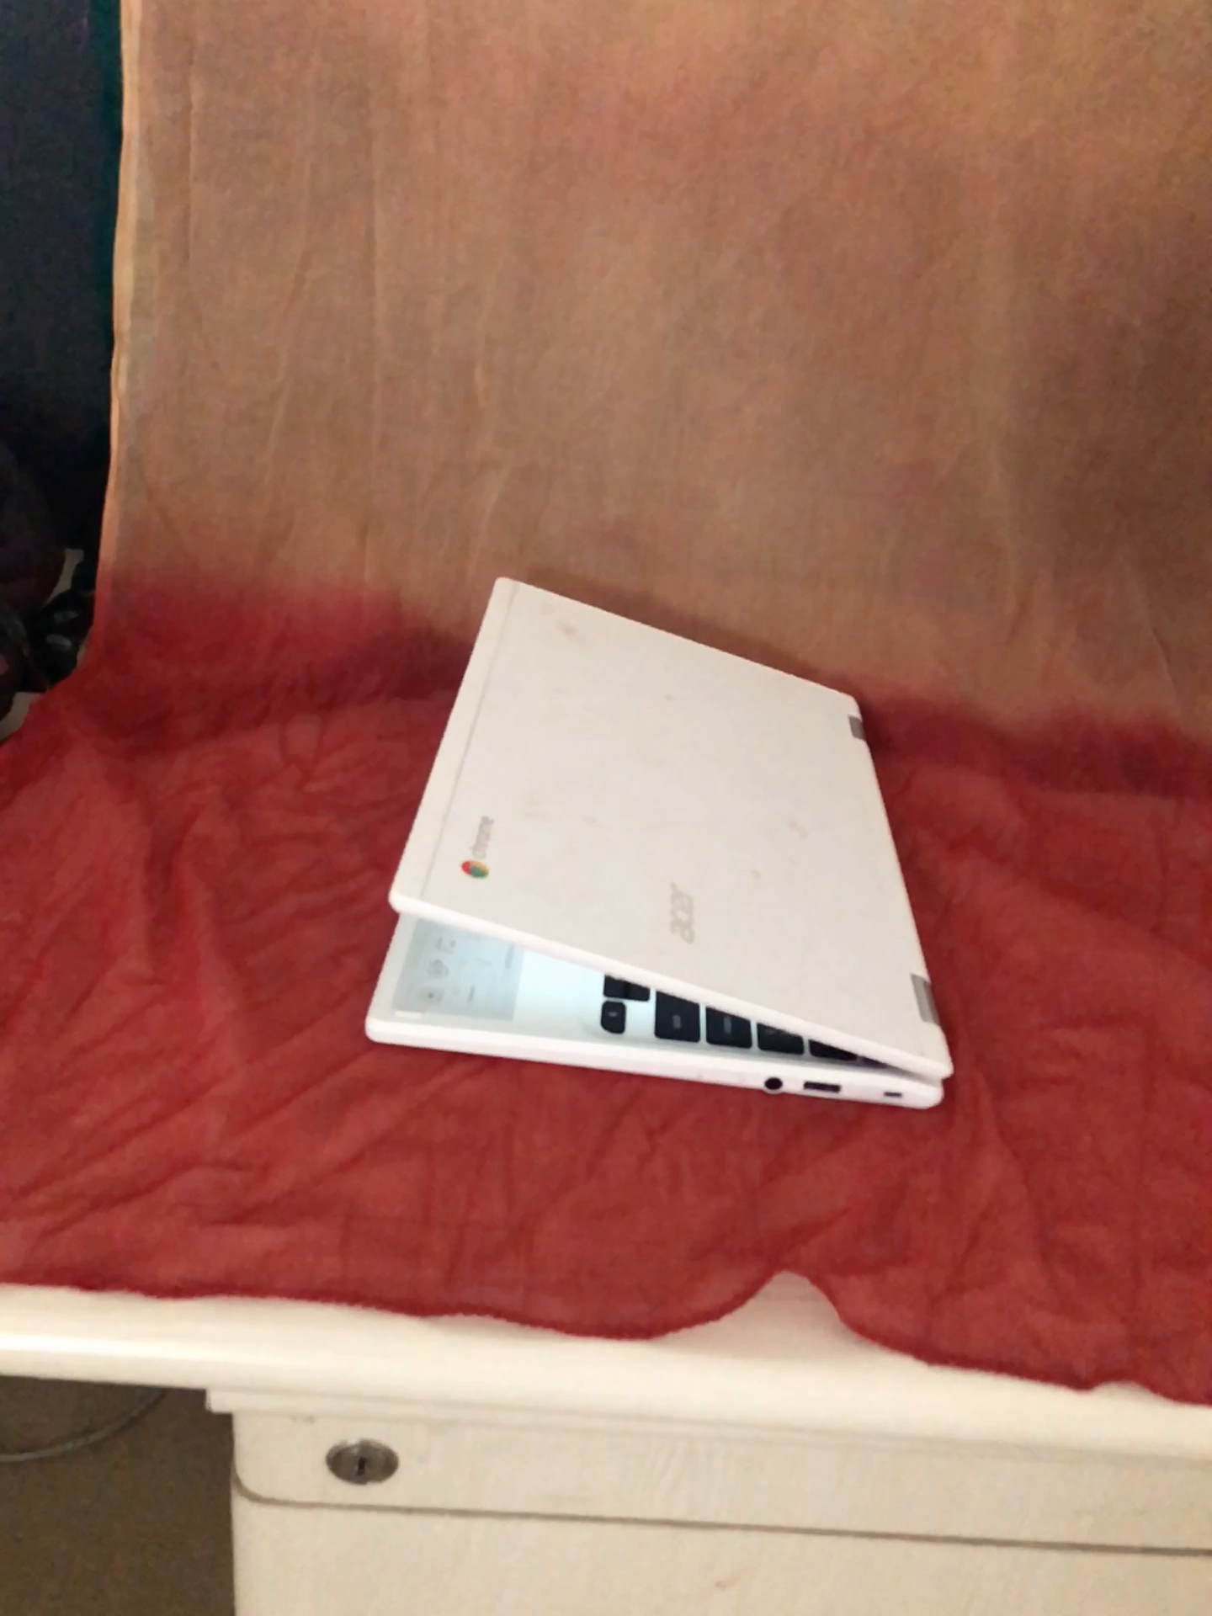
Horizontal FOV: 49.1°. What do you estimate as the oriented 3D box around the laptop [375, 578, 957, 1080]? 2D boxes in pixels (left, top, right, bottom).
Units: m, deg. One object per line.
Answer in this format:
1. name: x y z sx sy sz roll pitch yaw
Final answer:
1. laptop: 0.027 -0.013 0.571 0.189 0.055 0.289 7 29 1
